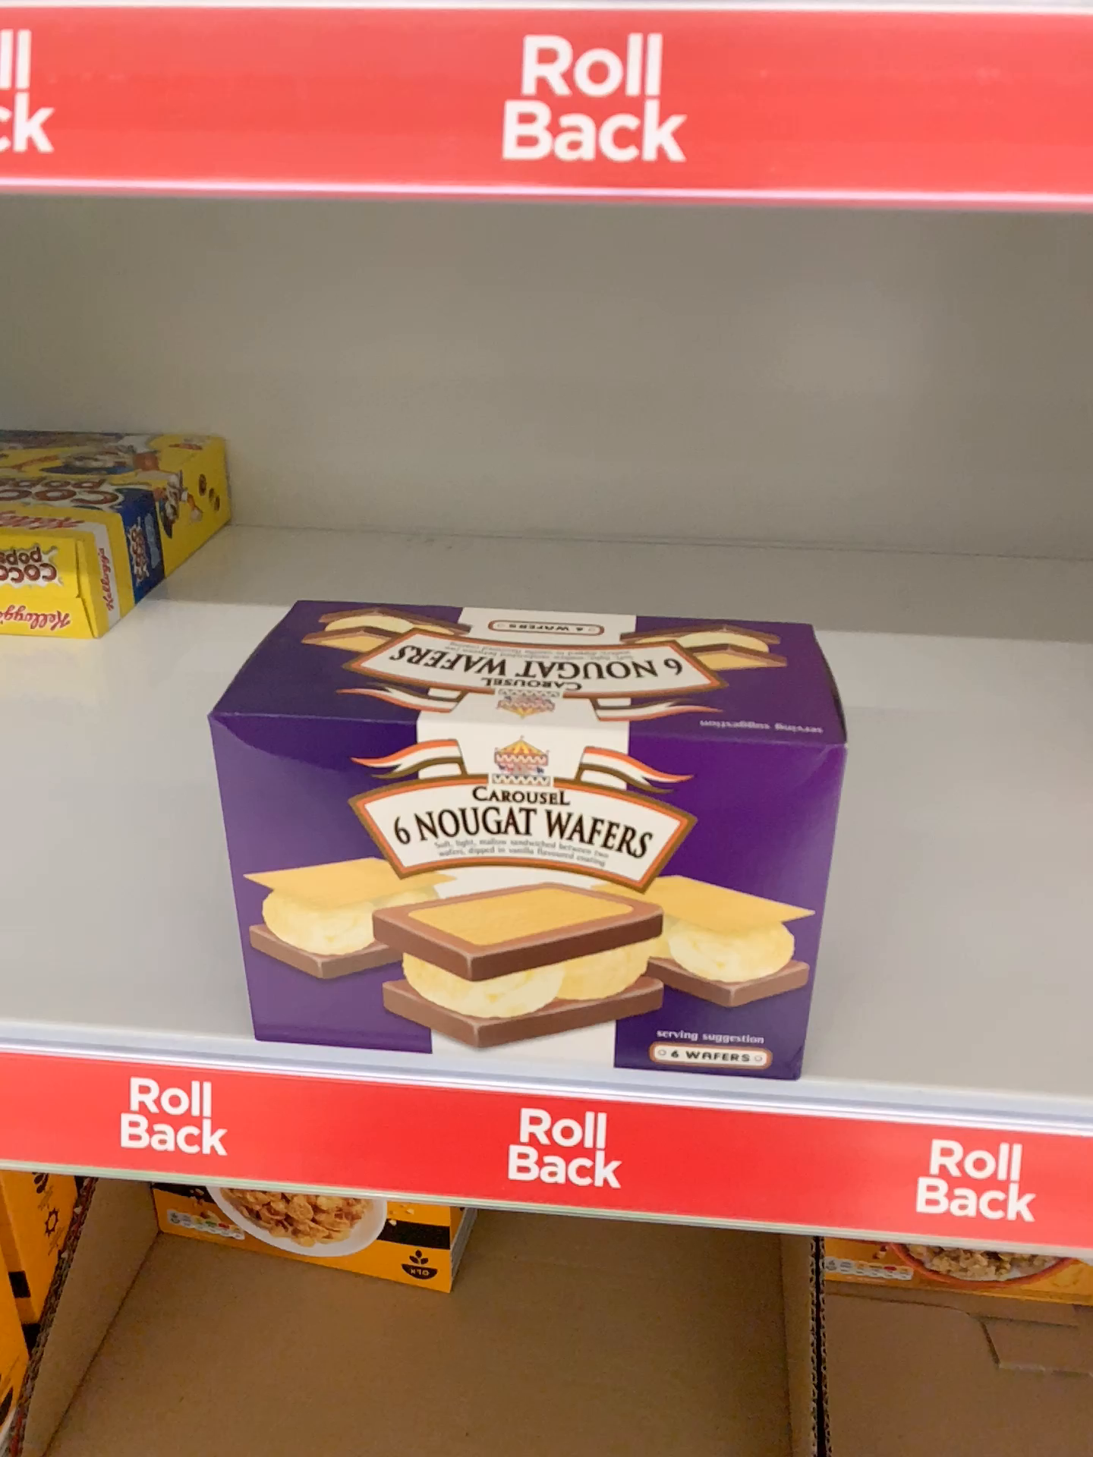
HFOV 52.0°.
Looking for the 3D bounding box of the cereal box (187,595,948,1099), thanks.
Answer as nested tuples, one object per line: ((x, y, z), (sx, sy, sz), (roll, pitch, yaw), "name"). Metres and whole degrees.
((0.006, 0.031, 0.344), (0.190, 0.109, 0.091), (3, 28, 4), "cereal box")
